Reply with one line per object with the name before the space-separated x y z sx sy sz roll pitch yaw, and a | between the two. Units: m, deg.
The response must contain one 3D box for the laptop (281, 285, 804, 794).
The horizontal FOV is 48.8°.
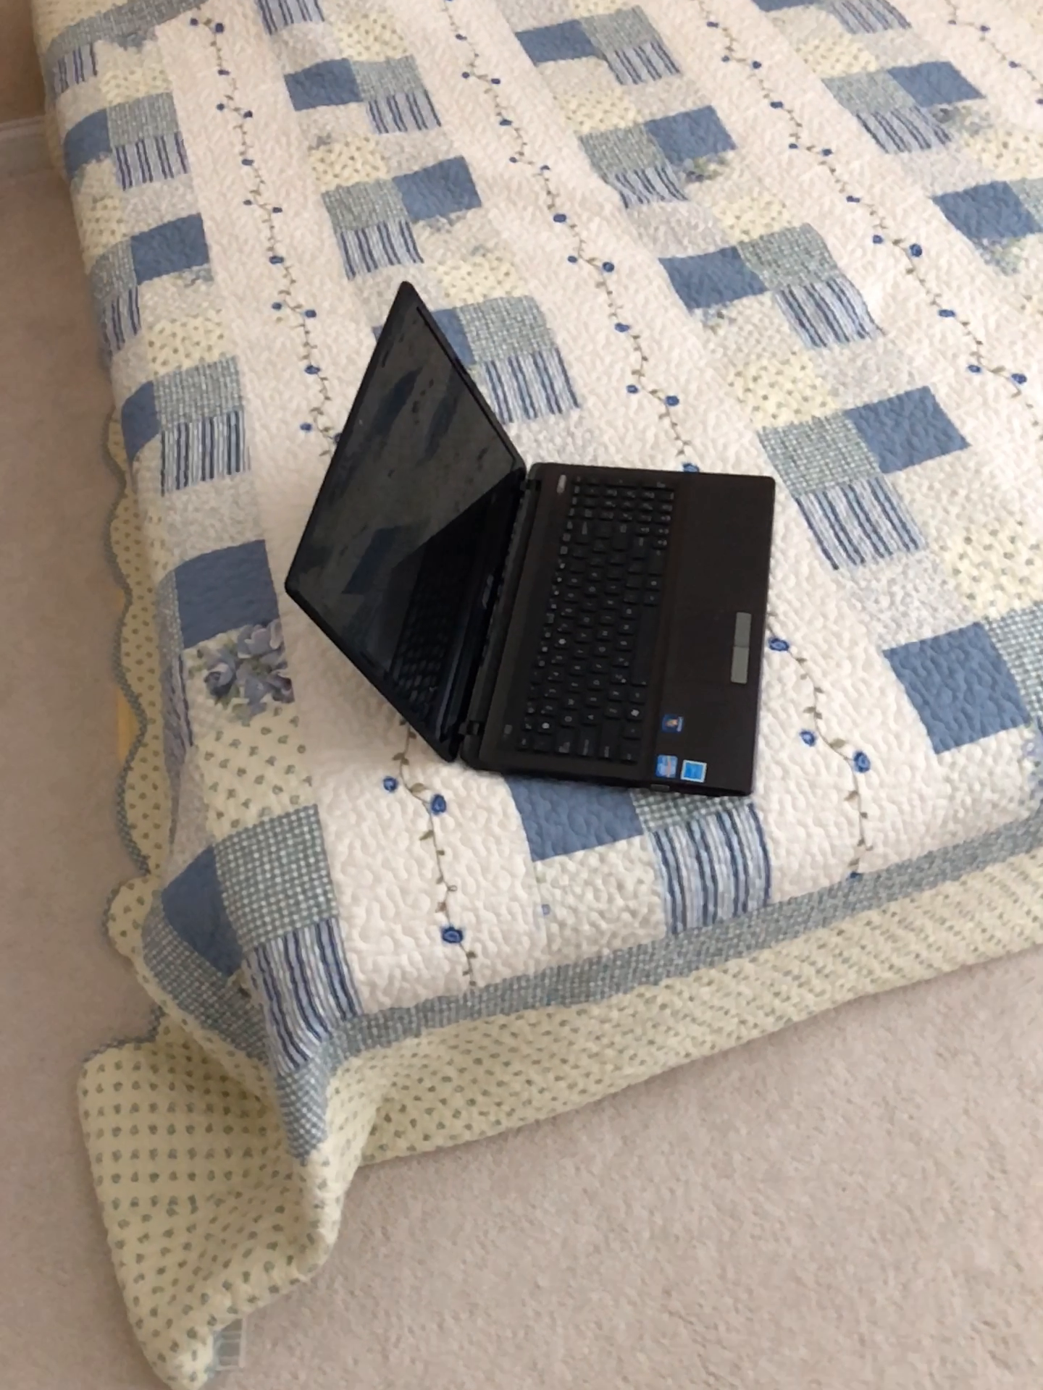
laptop | 0.039 -0.142 0.968 0.350 0.193 0.359 7 54 8
